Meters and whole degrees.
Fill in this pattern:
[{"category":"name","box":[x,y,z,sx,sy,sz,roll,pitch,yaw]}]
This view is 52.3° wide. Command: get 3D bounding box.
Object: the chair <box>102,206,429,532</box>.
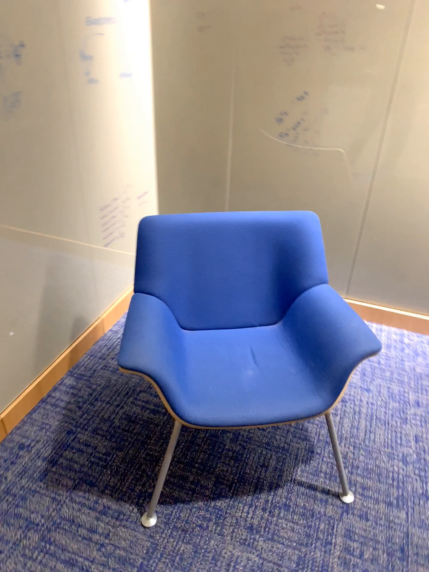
[{"category":"chair","box":[0.091,0.215,1.480,0.788,0.712,0.744,-3,32,-7]}]
